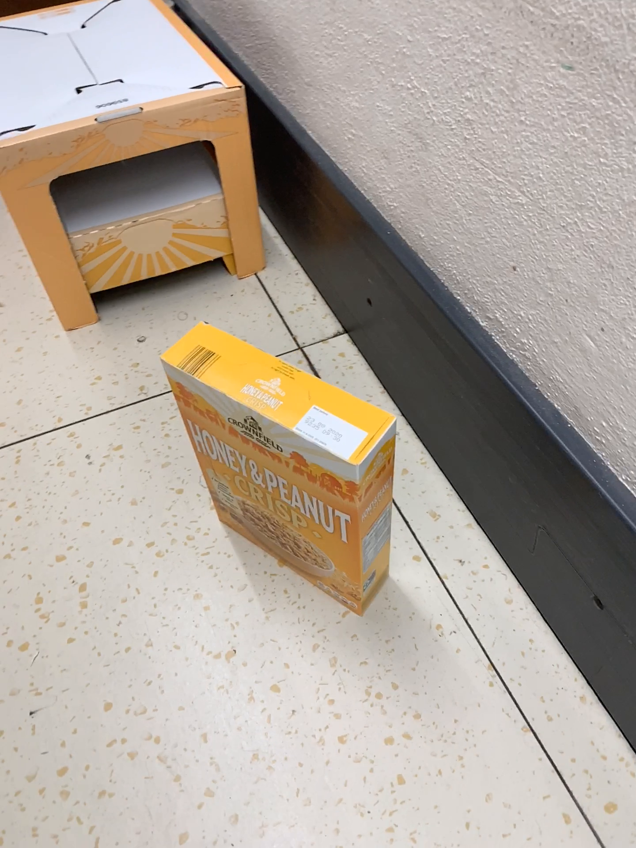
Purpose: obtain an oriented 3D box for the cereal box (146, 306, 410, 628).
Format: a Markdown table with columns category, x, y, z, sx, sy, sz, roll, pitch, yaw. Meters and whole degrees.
| category | x | y | z | sx | sy | sz | roll | pitch | yaw |
| --- | --- | --- | --- | --- | --- | --- | --- | --- | --- |
| cereal box | -0.025 | 0.050 | 0.550 | 0.191 | 0.268 | 0.050 | 27 | 59 | 23 |
